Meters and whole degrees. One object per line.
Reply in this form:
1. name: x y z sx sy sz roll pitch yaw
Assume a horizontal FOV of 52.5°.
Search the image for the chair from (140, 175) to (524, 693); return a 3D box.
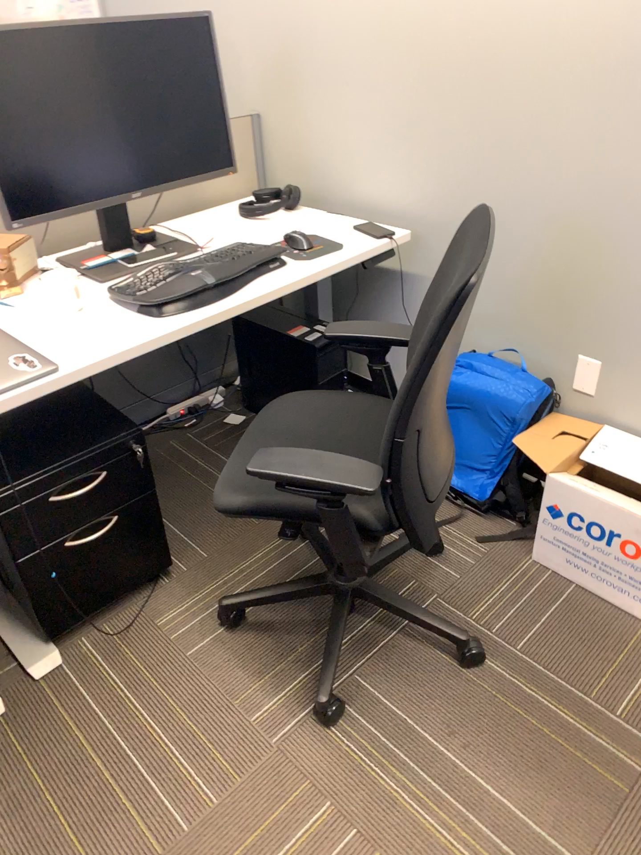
1. chair: 0.091 -0.035 1.622 0.610 0.945 0.834 4 34 9
